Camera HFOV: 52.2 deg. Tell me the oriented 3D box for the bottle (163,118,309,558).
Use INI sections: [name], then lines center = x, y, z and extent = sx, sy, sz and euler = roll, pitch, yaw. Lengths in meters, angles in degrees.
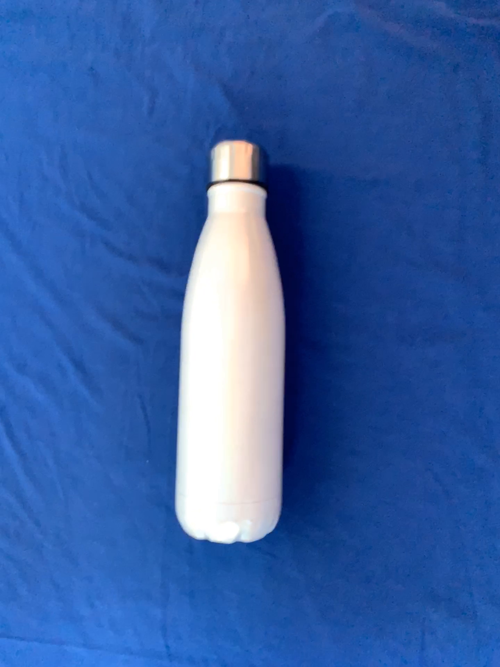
[bottle]
center = -0.007, 0.001, 0.335
extent = 0.080, 0.050, 0.260
euler = 1, 89, 14
